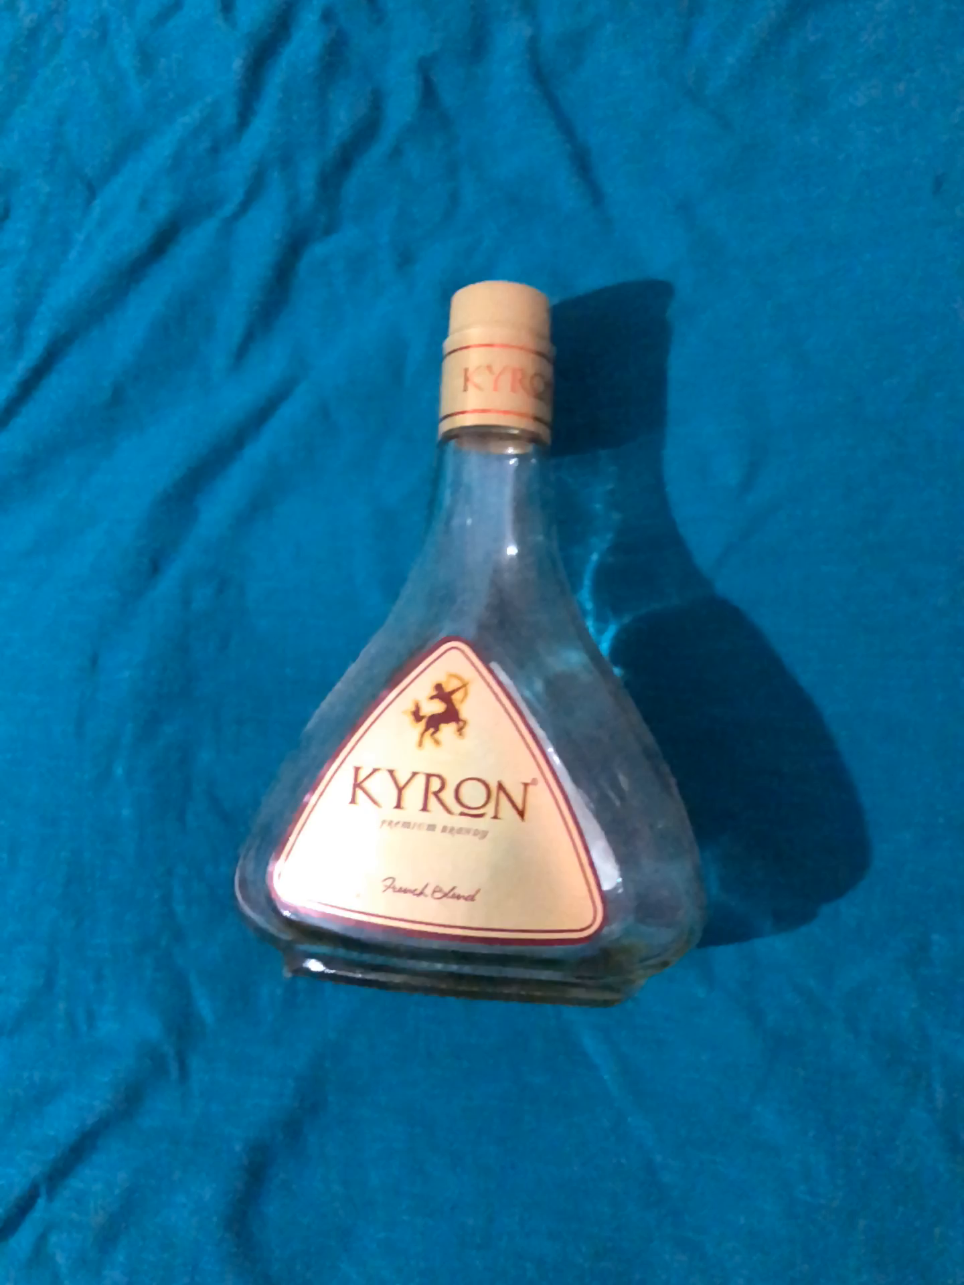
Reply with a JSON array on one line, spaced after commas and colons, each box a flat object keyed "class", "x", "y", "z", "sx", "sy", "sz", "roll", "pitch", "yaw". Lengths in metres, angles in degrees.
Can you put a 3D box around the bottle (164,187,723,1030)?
[{"class": "bottle", "x": -0.005, "y": -0.009, "z": 0.269, "sx": 0.120, "sy": 0.060, "sz": 0.180, "roll": 2, "pitch": 87, "yaw": 11}]
